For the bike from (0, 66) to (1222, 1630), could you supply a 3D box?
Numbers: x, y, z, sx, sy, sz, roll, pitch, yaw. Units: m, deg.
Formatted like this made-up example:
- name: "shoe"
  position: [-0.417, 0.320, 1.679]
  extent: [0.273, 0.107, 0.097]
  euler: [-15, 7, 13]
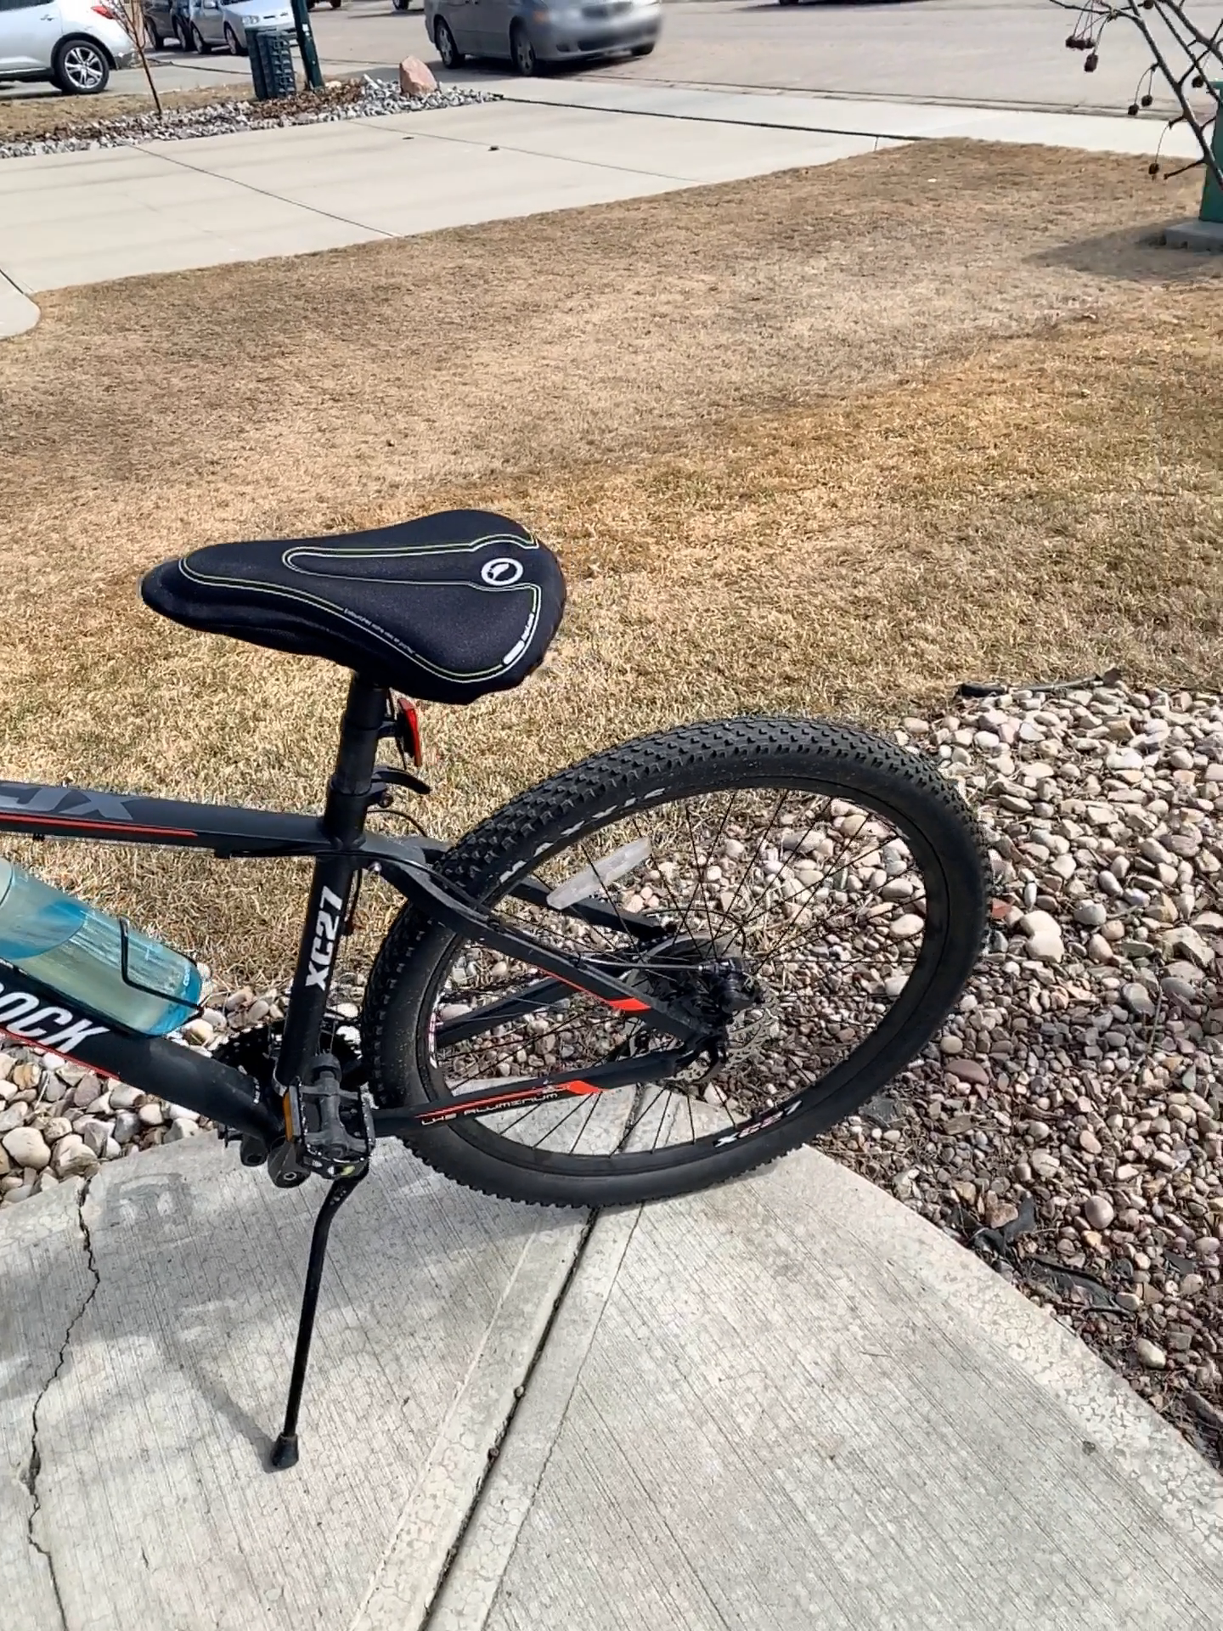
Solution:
- name: "bike"
  position: [-0.328, 0.199, 0.936]
  extent: [1.480, 1.004, 0.603]
  euler: [-19, 37, -13]
